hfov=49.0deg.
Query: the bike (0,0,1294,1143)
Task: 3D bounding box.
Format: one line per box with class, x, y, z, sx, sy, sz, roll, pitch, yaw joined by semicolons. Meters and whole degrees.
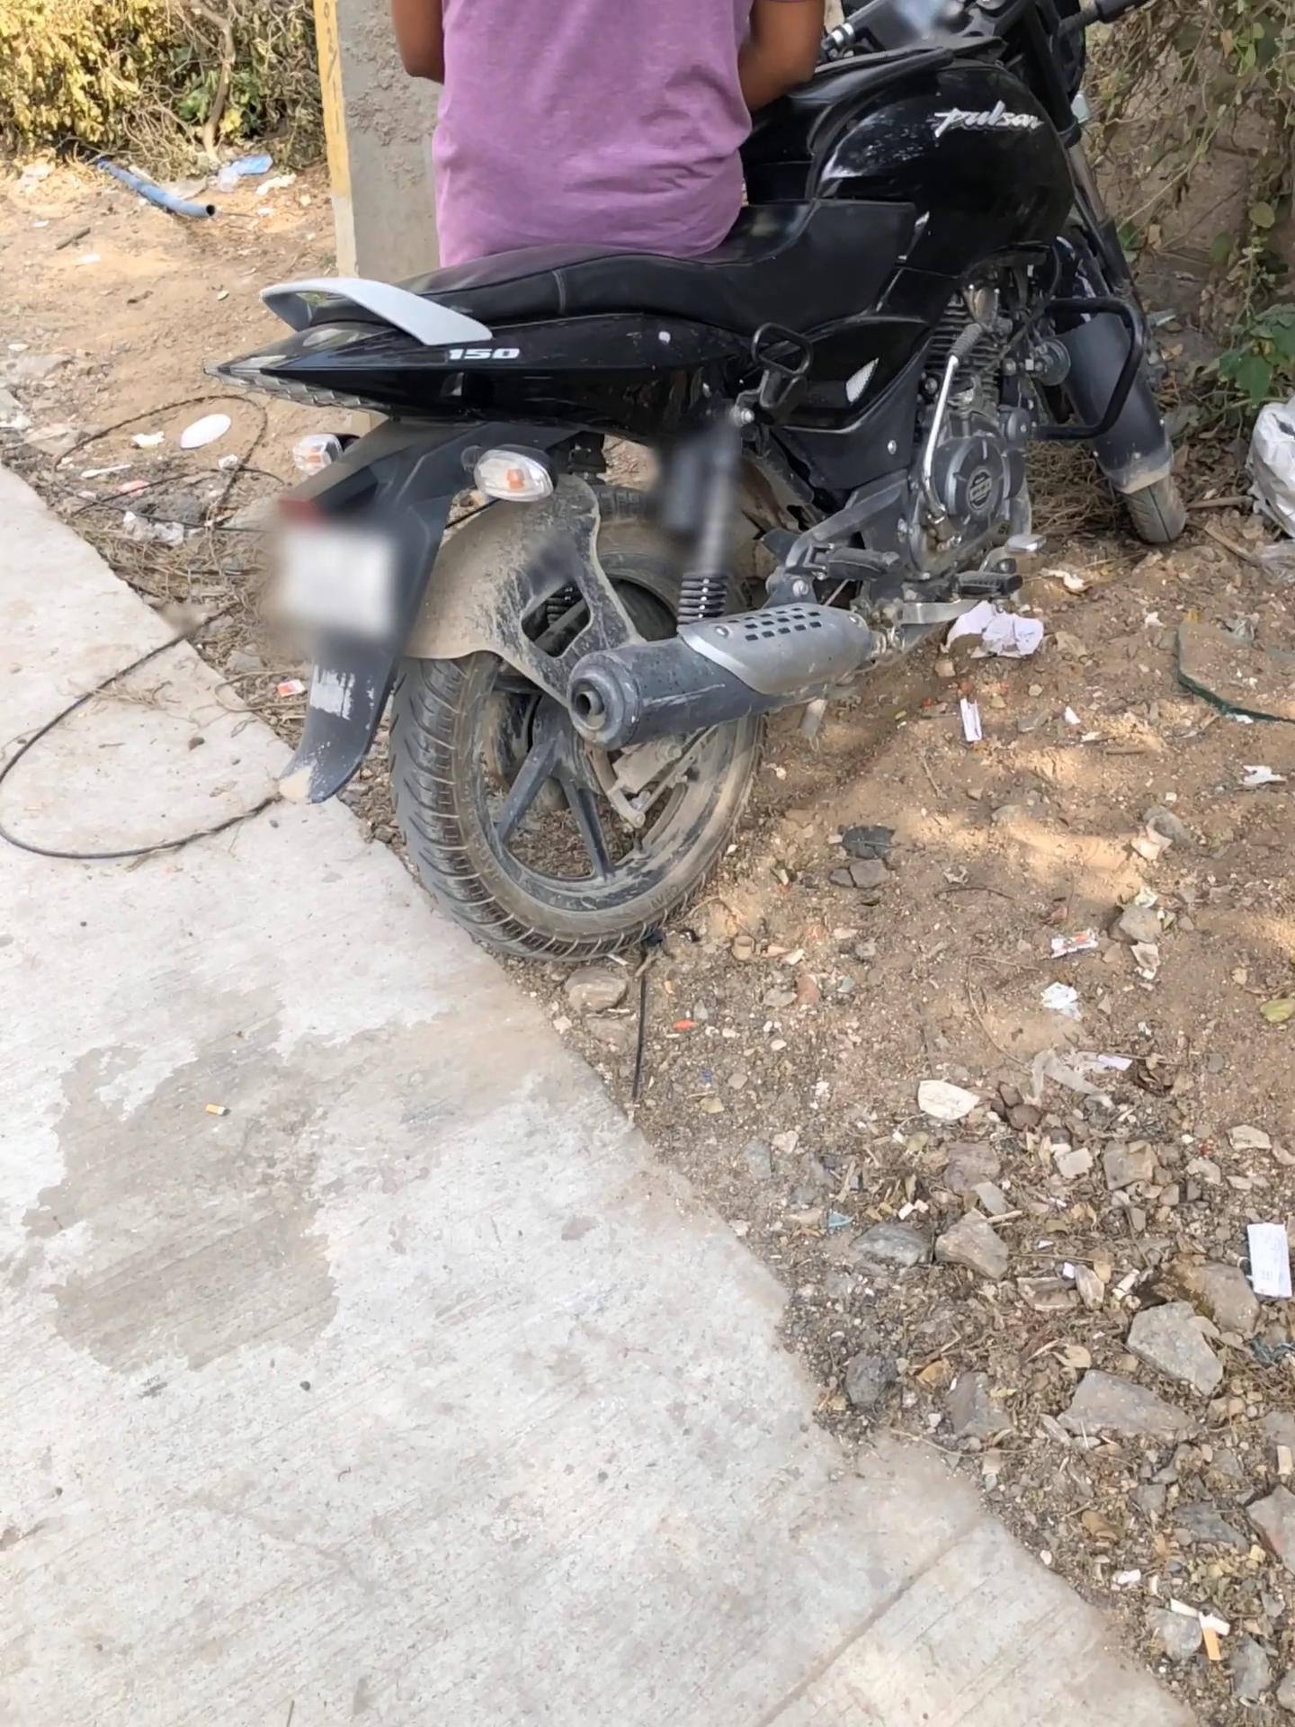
bike;0.166;-0.825;2.045;0.813;1.215;1.823;23;47;27
